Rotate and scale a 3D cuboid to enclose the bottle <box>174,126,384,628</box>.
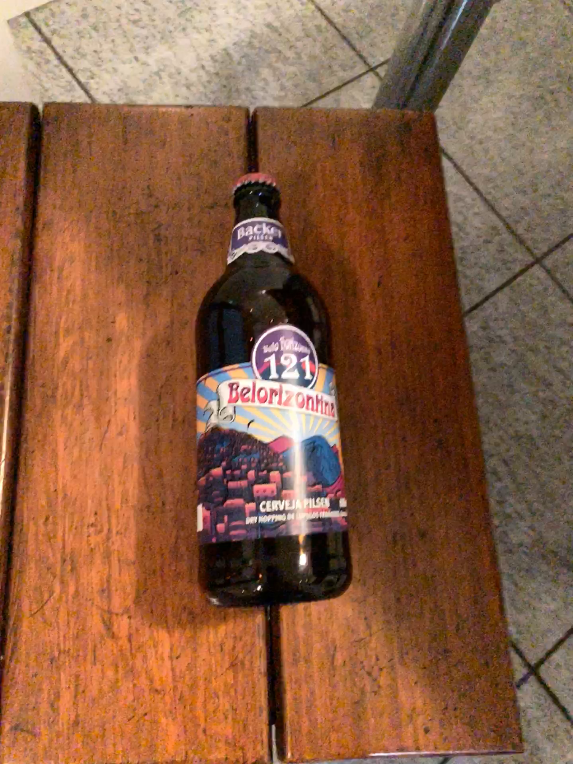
[{"bbox_3d":[-0.012,-0.009,0.306,0.080,0.050,0.240,-1,74,-16],"label":"bottle"}]
